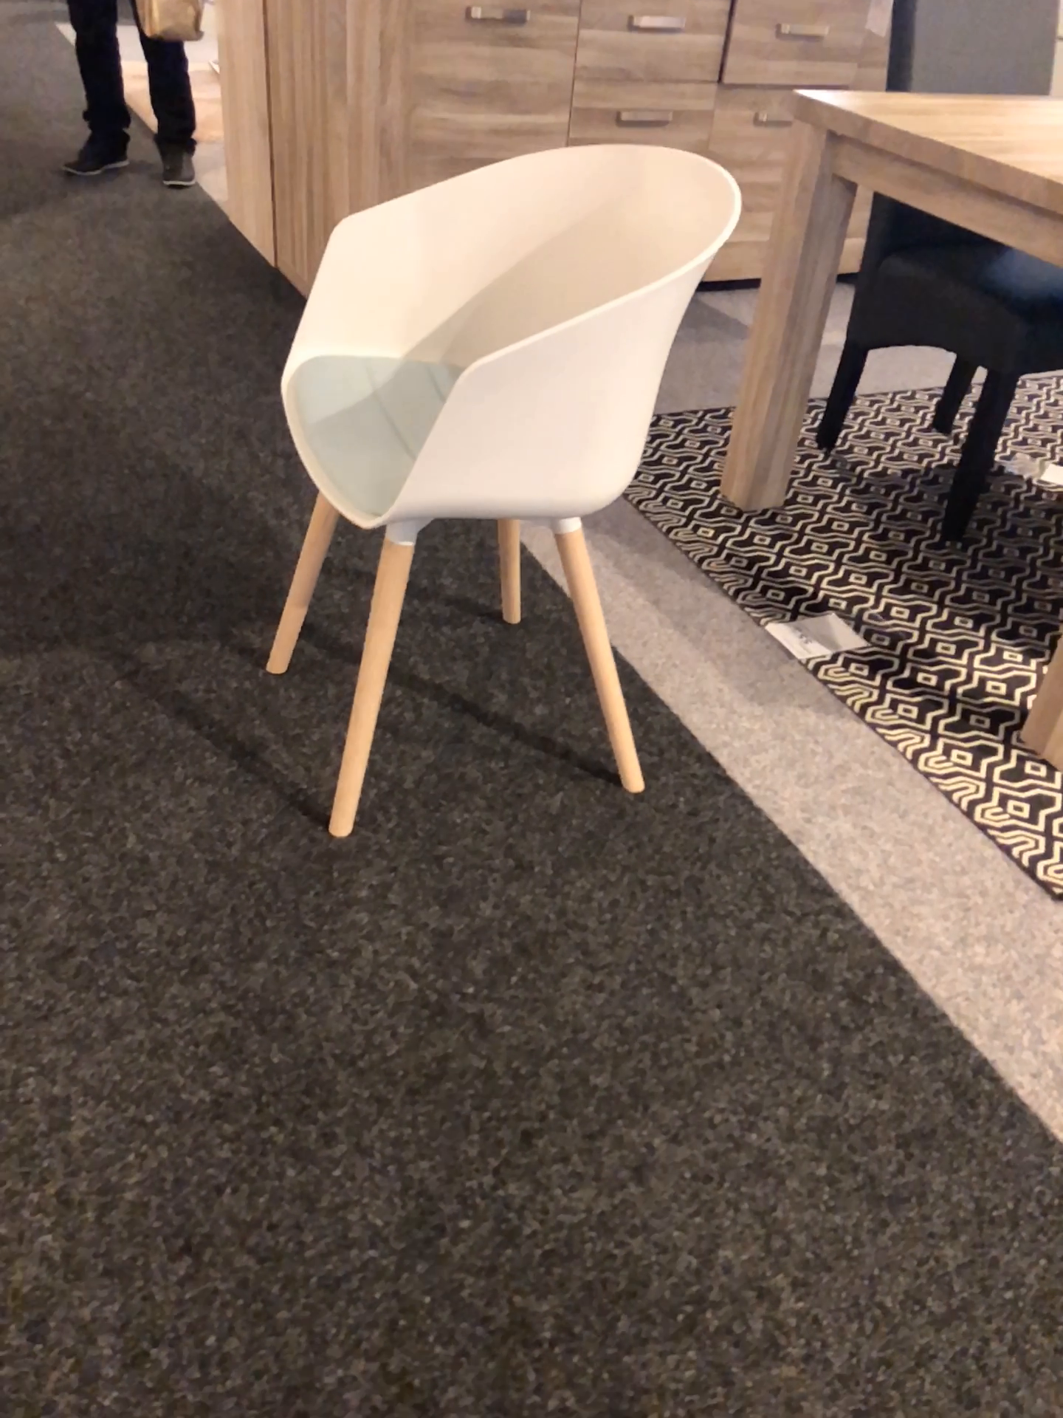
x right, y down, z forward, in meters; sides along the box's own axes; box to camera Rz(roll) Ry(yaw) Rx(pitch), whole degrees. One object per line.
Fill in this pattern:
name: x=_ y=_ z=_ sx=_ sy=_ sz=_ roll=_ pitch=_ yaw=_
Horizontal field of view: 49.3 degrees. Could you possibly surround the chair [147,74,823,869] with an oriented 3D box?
chair: x=-0.111 y=-0.320 z=1.475 sx=0.582 sy=0.765 sz=0.552 roll=-10 pitch=38 yaw=-20
